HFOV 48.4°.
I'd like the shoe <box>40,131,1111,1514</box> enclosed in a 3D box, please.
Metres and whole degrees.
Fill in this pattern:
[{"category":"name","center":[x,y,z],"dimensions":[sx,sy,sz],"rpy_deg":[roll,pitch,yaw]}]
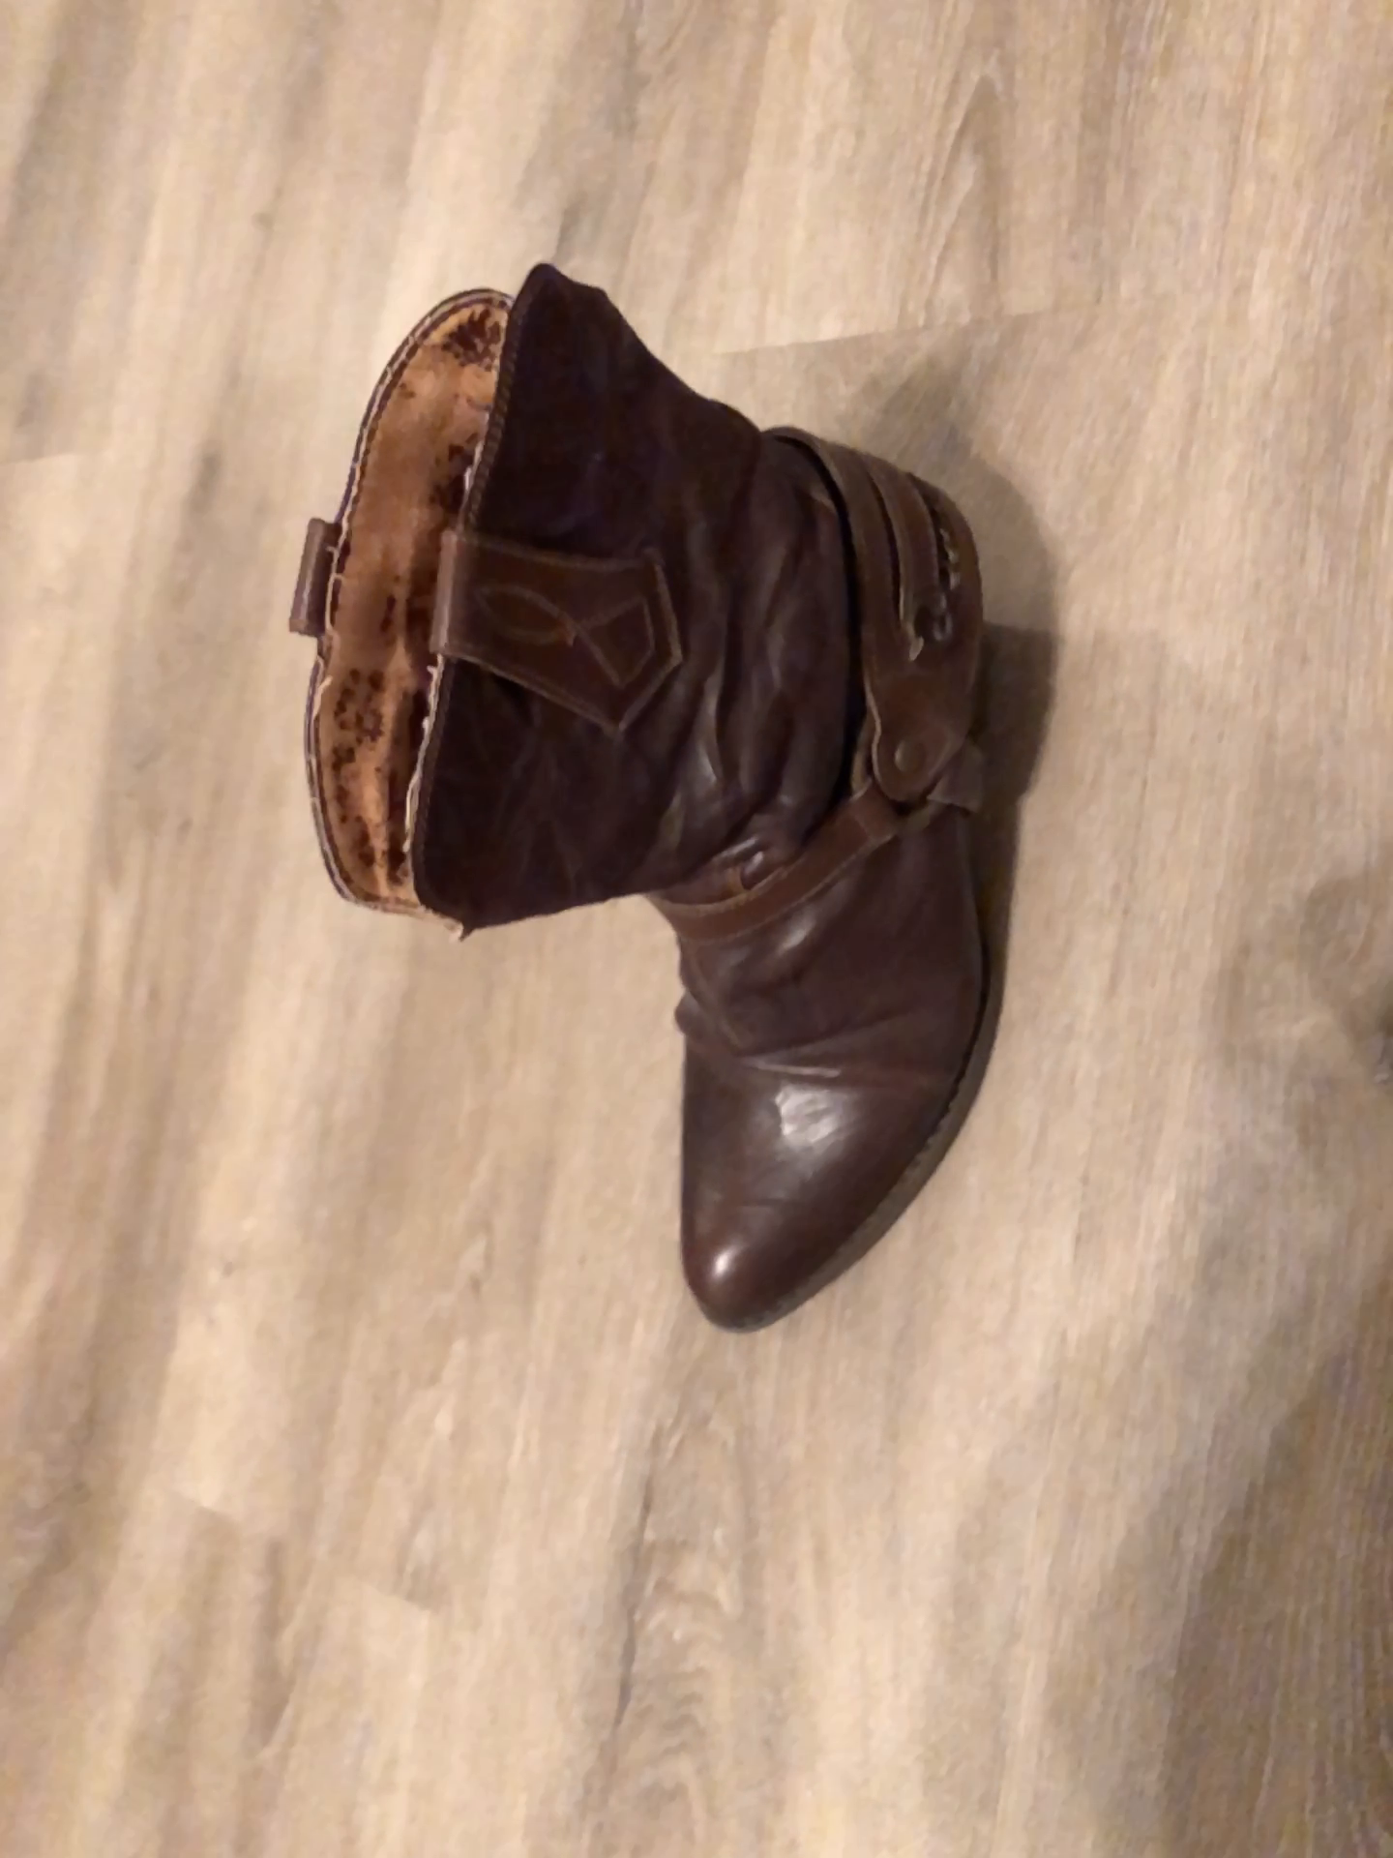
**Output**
[{"category":"shoe","center":[-0.007,-0.010,0.375],"dimensions":[0.100,0.209,0.240],"rpy_deg":[11,86,34]}]
